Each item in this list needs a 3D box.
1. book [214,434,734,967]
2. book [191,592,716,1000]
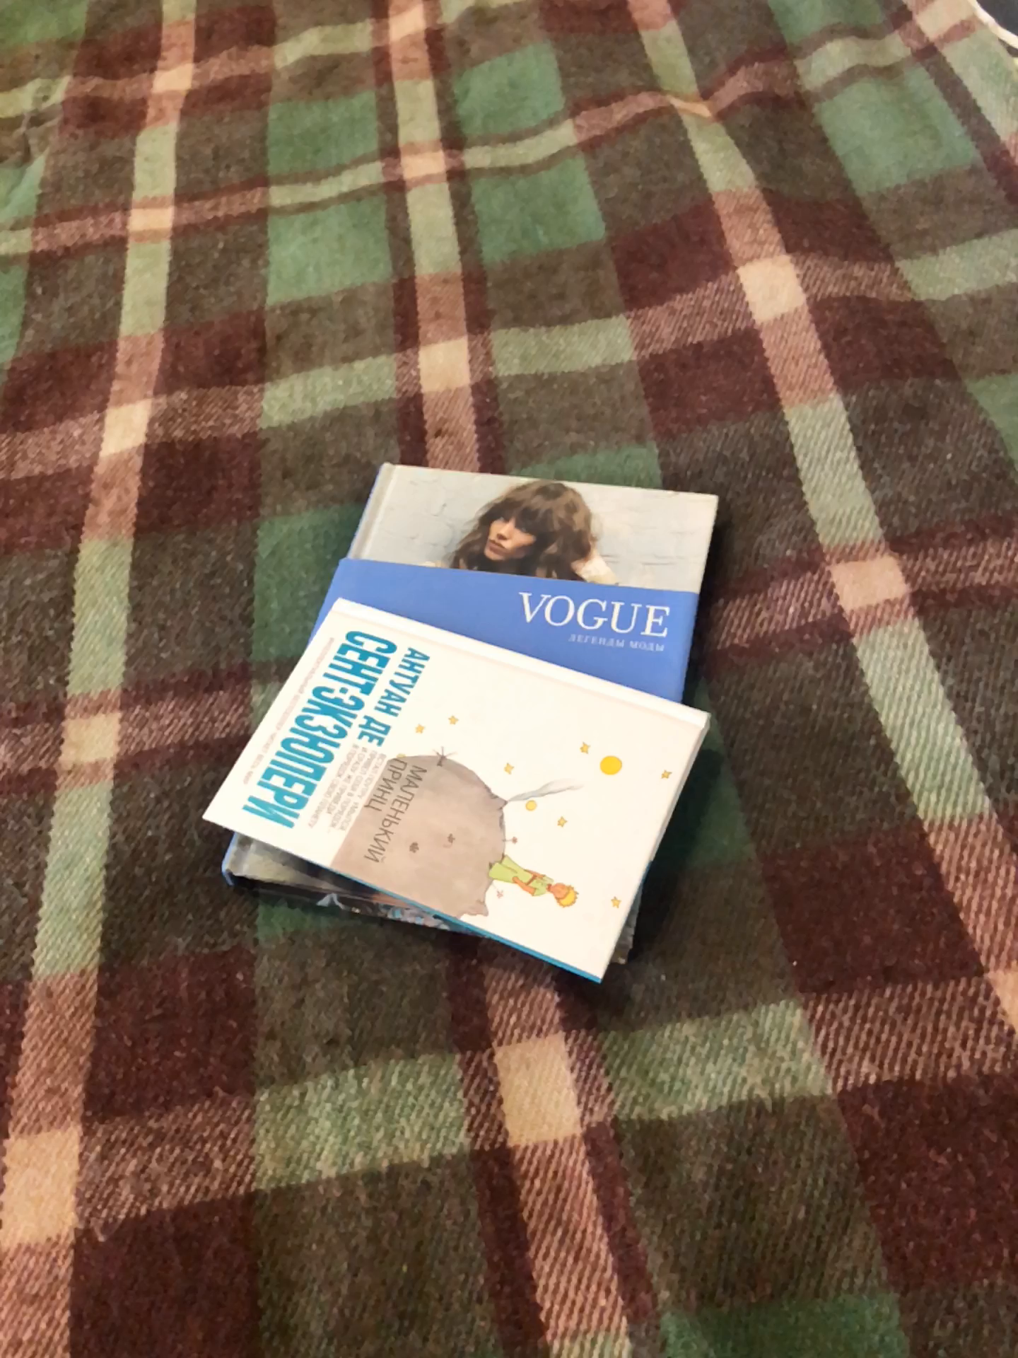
[{"bbox_3d":[-0.004,-0.007,0.504,0.174,0.024,0.240,8,58,13],"label":"book"},{"bbox_3d":[-0.020,0.037,0.443,0.170,0.014,0.119,18,60,18],"label":"book"}]
